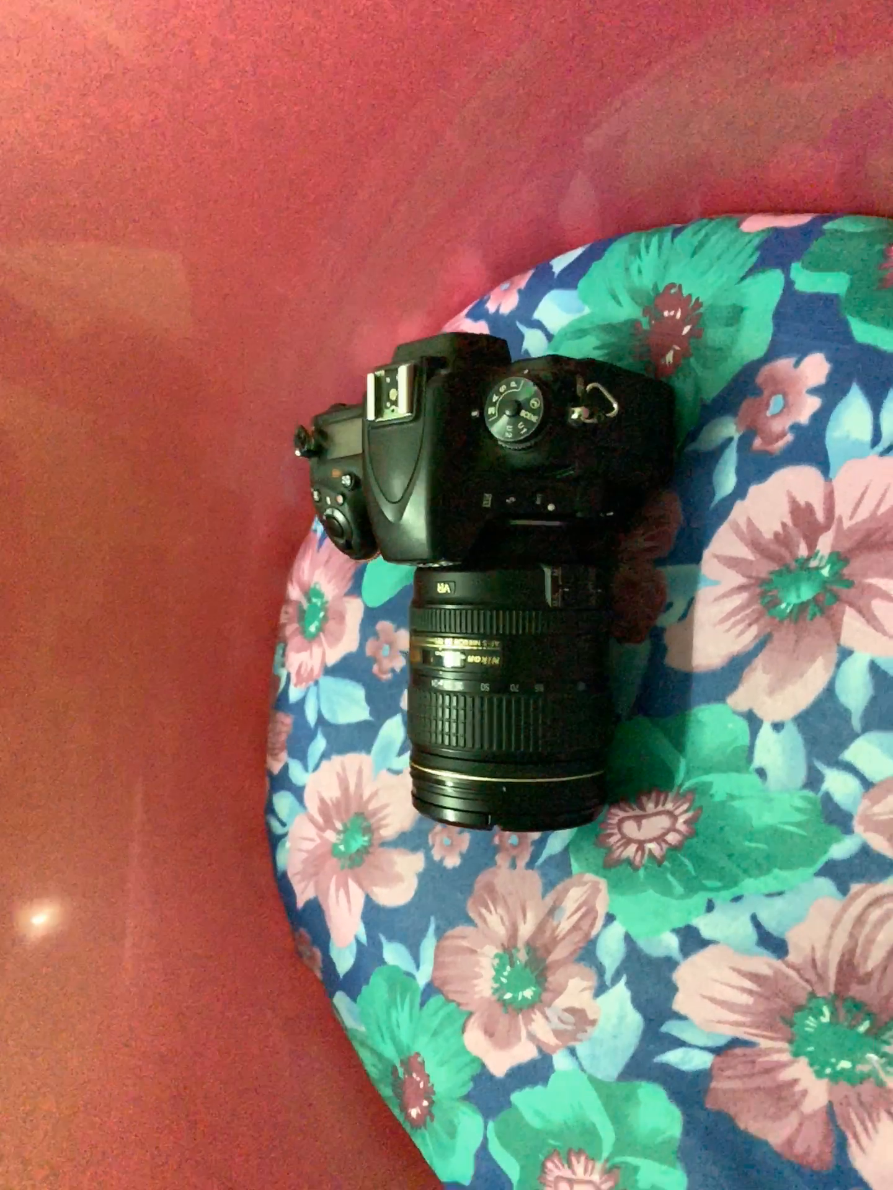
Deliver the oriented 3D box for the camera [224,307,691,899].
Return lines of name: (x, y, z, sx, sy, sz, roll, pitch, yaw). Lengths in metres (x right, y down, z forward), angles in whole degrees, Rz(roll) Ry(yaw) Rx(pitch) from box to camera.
camera: (0.002, 0.004, 0.366, 0.141, 0.110, 0.179, 1, 87, 46)
